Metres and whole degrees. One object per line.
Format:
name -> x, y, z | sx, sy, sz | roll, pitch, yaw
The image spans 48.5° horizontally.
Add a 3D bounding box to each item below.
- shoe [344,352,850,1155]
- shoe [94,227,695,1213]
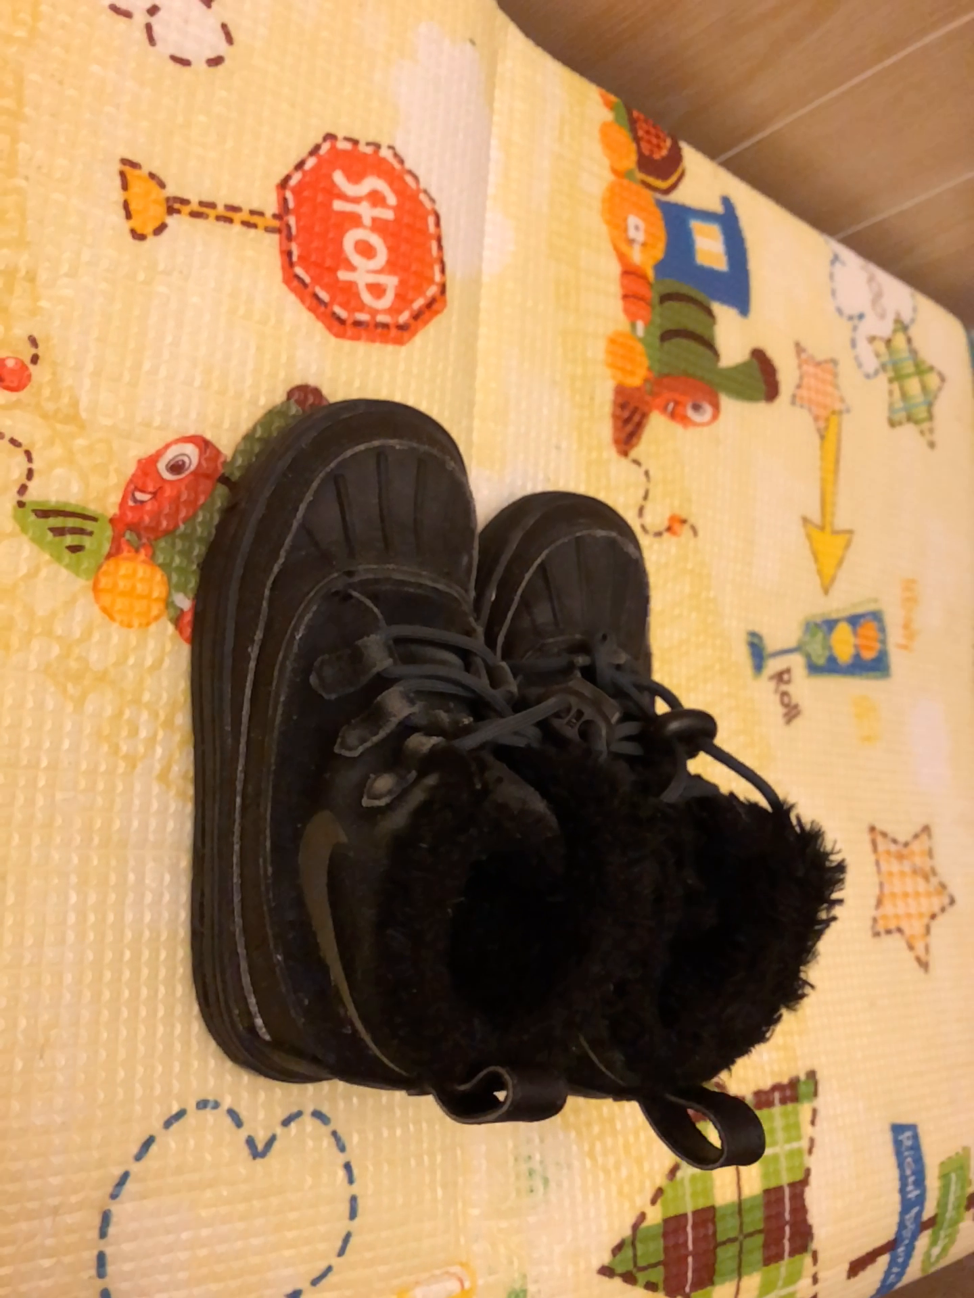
shoe -> 0.039, 0.036, 0.359 | 0.090, 0.110, 0.220 | 20, 72, -35
shoe -> -0.025, 0.020, 0.300 | 0.090, 0.120, 0.210 | 16, 74, -36
